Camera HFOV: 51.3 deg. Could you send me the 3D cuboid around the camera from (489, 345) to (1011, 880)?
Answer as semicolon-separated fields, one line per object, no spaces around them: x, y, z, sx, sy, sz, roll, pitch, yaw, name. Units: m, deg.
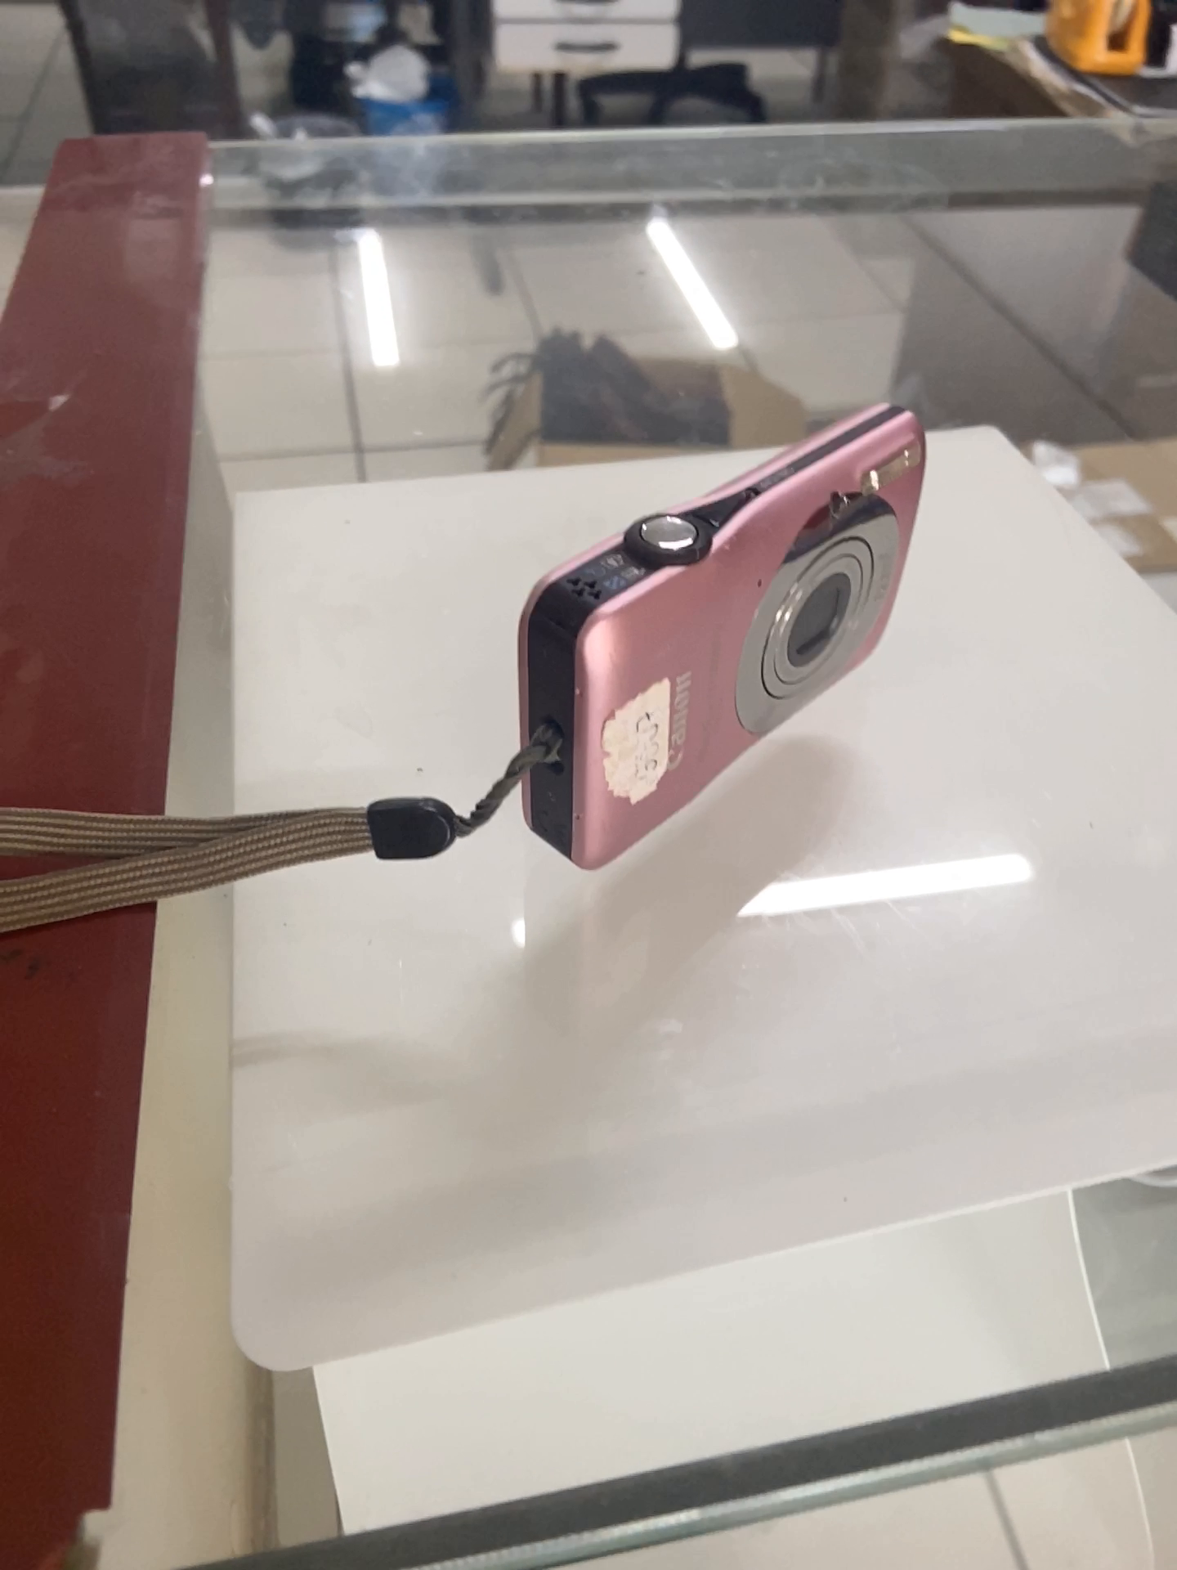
0.029;-0.034;0.213;0.030;0.050;0.100;32;49;29;camera
